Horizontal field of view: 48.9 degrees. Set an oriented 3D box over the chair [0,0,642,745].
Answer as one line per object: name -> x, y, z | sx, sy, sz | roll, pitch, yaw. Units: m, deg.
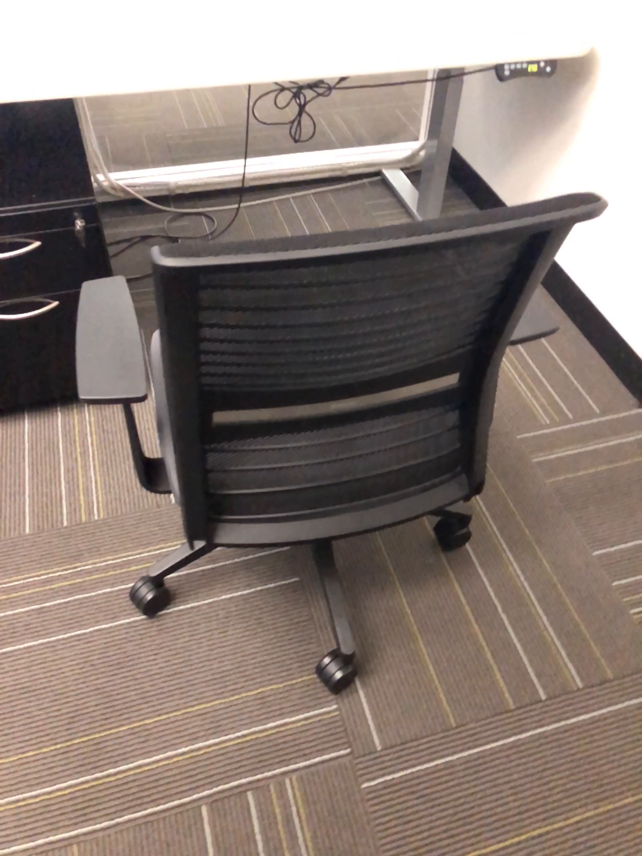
chair -> -0.037, -0.110, 1.119 | 0.720, 0.906, 0.683 | -12, 48, -13
